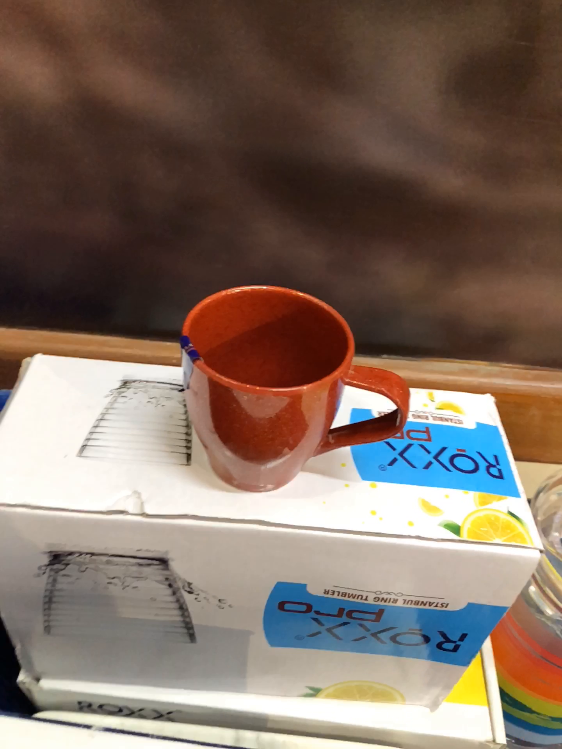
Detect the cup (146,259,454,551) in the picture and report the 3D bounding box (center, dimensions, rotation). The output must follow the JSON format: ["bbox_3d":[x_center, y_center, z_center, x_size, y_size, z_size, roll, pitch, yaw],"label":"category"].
[{"bbox_3d":[0.010,0.009,0.254,0.100,0.070,0.070,13,40,11],"label":"cup"}]
